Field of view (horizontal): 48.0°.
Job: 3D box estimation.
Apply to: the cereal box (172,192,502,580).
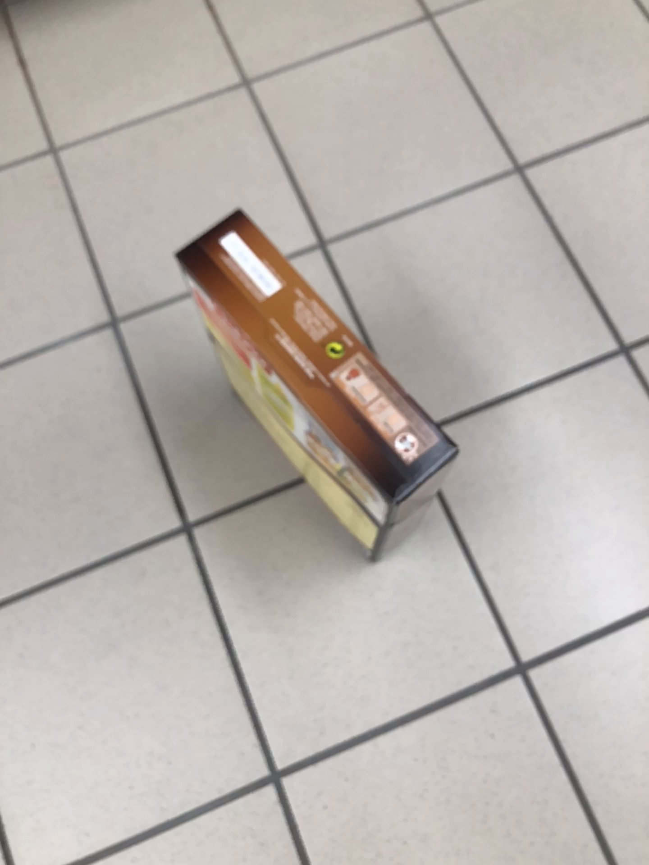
[{"bbox_3d":[0.006,-0.010,0.492,0.060,0.230,0.200,-38,75,-9],"label":"cereal box"}]
